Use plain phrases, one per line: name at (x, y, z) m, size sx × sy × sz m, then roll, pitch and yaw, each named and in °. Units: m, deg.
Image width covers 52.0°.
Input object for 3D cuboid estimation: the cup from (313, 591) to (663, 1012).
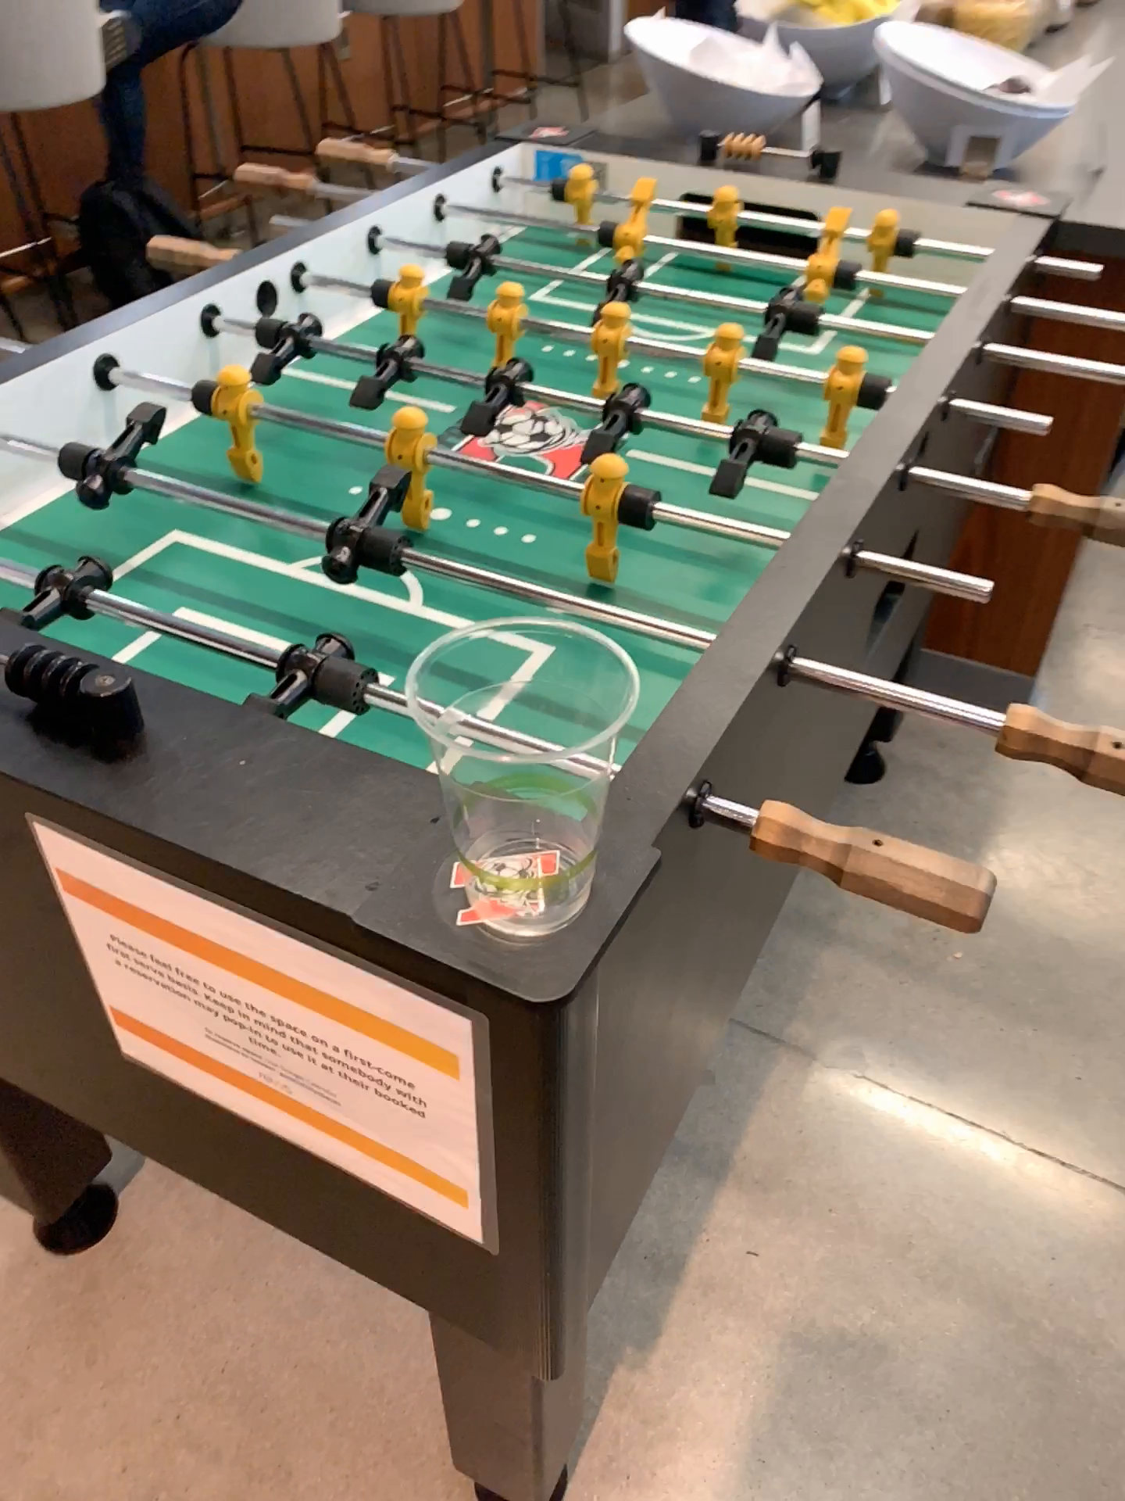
cup at (-0.028, 0.019, 0.499) m, size 0.100 × 0.119 × 0.100 m, roll 0°, pitch 40°, yaw 0°
